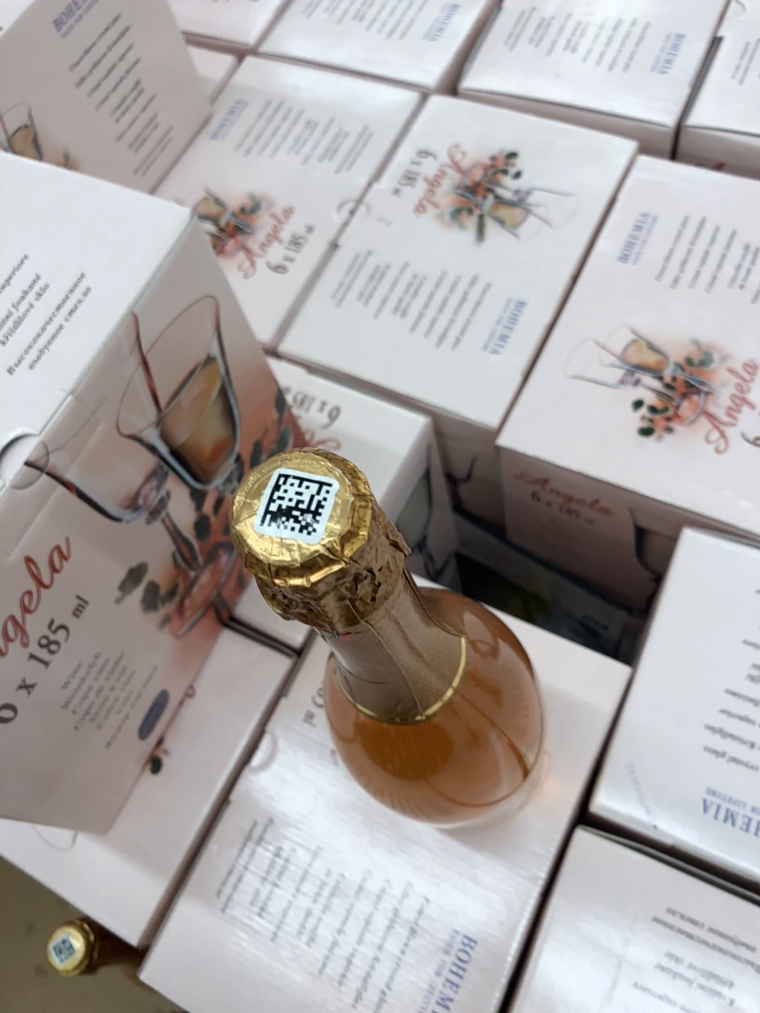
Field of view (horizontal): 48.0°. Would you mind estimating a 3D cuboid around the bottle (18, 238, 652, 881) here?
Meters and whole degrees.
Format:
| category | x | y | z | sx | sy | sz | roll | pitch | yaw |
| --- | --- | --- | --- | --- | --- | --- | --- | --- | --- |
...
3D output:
| category | x | y | z | sx | sy | sz | roll | pitch | yaw |
| --- | --- | --- | --- | --- | --- | --- | --- | --- | --- |
| bottle | 0.013 | 0.059 | 0.310 | 0.090 | 0.299 | 0.100 | 35 | 76 | 23 |
